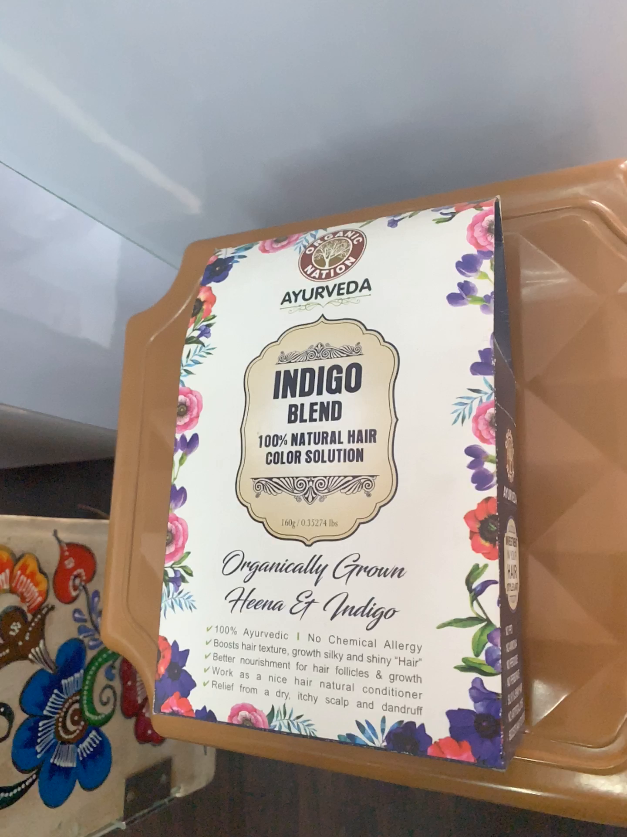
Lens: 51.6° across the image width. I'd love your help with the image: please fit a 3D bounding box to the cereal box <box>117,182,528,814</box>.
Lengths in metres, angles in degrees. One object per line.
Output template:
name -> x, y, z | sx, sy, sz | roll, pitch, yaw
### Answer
cereal box -> 0.007, 0.026, 0.267 | 0.140, 0.070, 0.200 | -4, 77, 26
